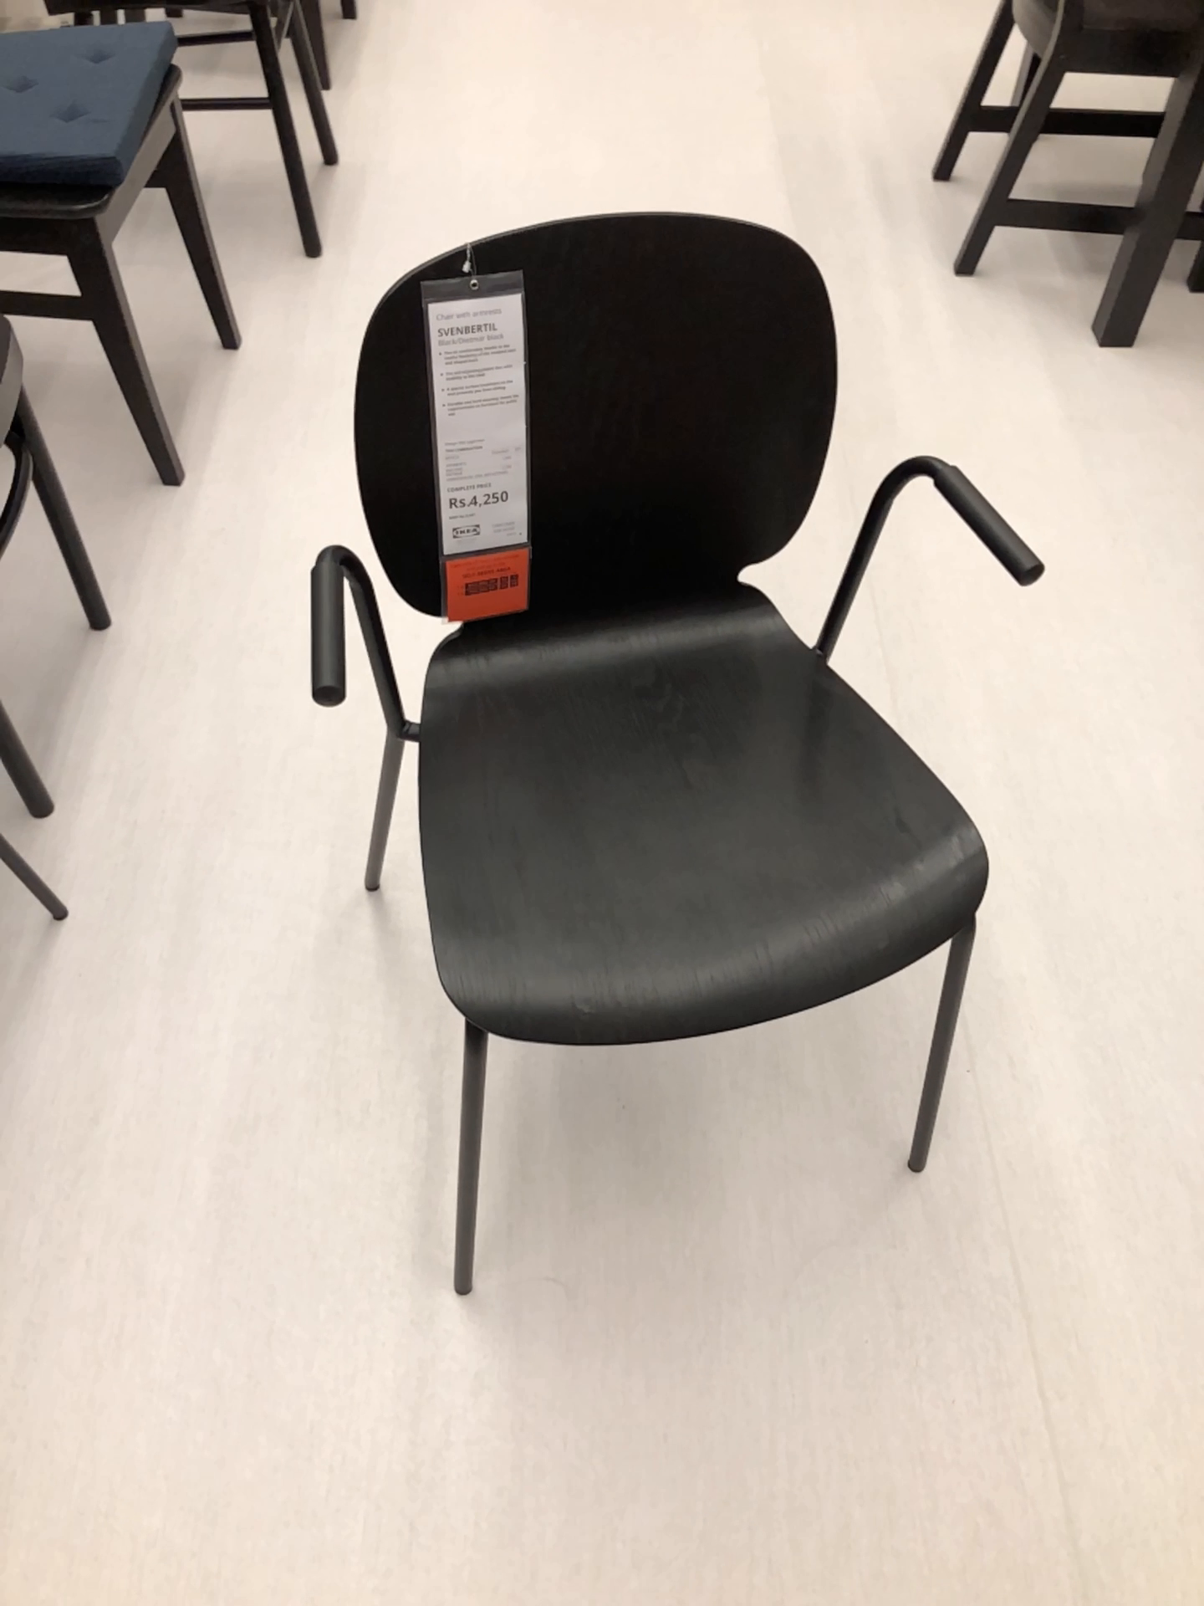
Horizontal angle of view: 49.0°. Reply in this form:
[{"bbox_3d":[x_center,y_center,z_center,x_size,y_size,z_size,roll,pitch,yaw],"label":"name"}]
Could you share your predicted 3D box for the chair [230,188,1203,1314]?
[{"bbox_3d":[0.037,-0.023,1.133,0.530,0.686,0.583,-10,53,-10],"label":"chair"}]
